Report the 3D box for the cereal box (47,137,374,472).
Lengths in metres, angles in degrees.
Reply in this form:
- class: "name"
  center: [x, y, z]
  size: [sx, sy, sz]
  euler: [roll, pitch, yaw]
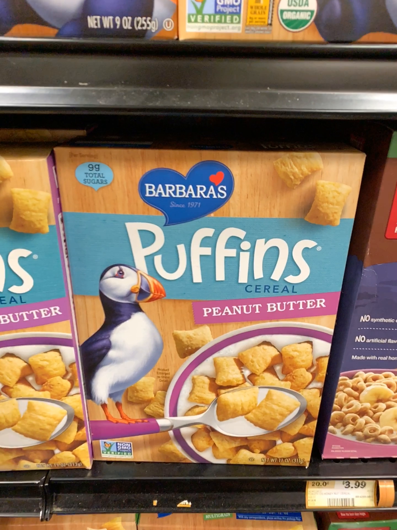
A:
- class: "cereal box"
  center: [0.005, 0.037, 0.329]
  size: [0.200, 0.259, 0.070]
  euler: [1, 21, 0]
